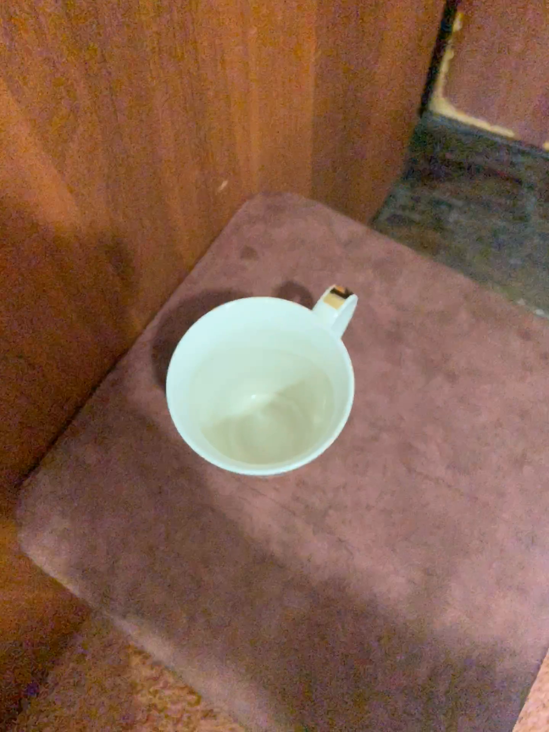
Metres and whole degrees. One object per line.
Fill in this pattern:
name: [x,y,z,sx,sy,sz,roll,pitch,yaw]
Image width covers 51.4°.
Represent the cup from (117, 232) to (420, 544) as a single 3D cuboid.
cup: [0.000,0.016,0.316,0.095,0.092,0.119,32,73,13]
